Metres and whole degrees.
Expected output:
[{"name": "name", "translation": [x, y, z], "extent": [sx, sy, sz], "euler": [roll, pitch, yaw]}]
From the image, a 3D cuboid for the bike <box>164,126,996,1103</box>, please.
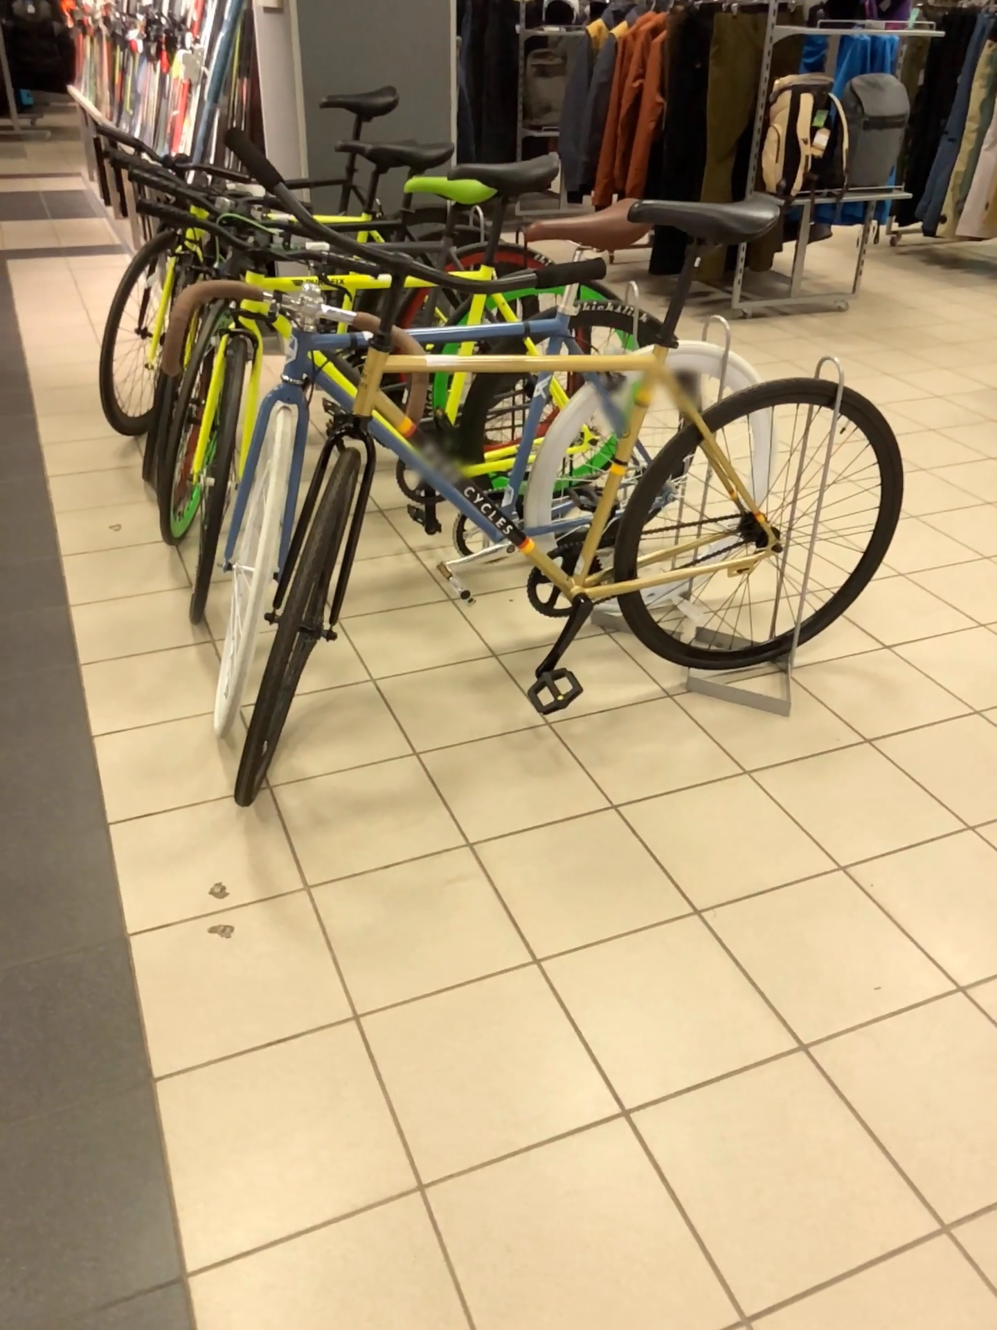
[{"name": "bike", "translation": [0.213, -0.225, 2.017], "extent": [1.466, 1.091, 0.675], "euler": [-21, 37, -25]}]
